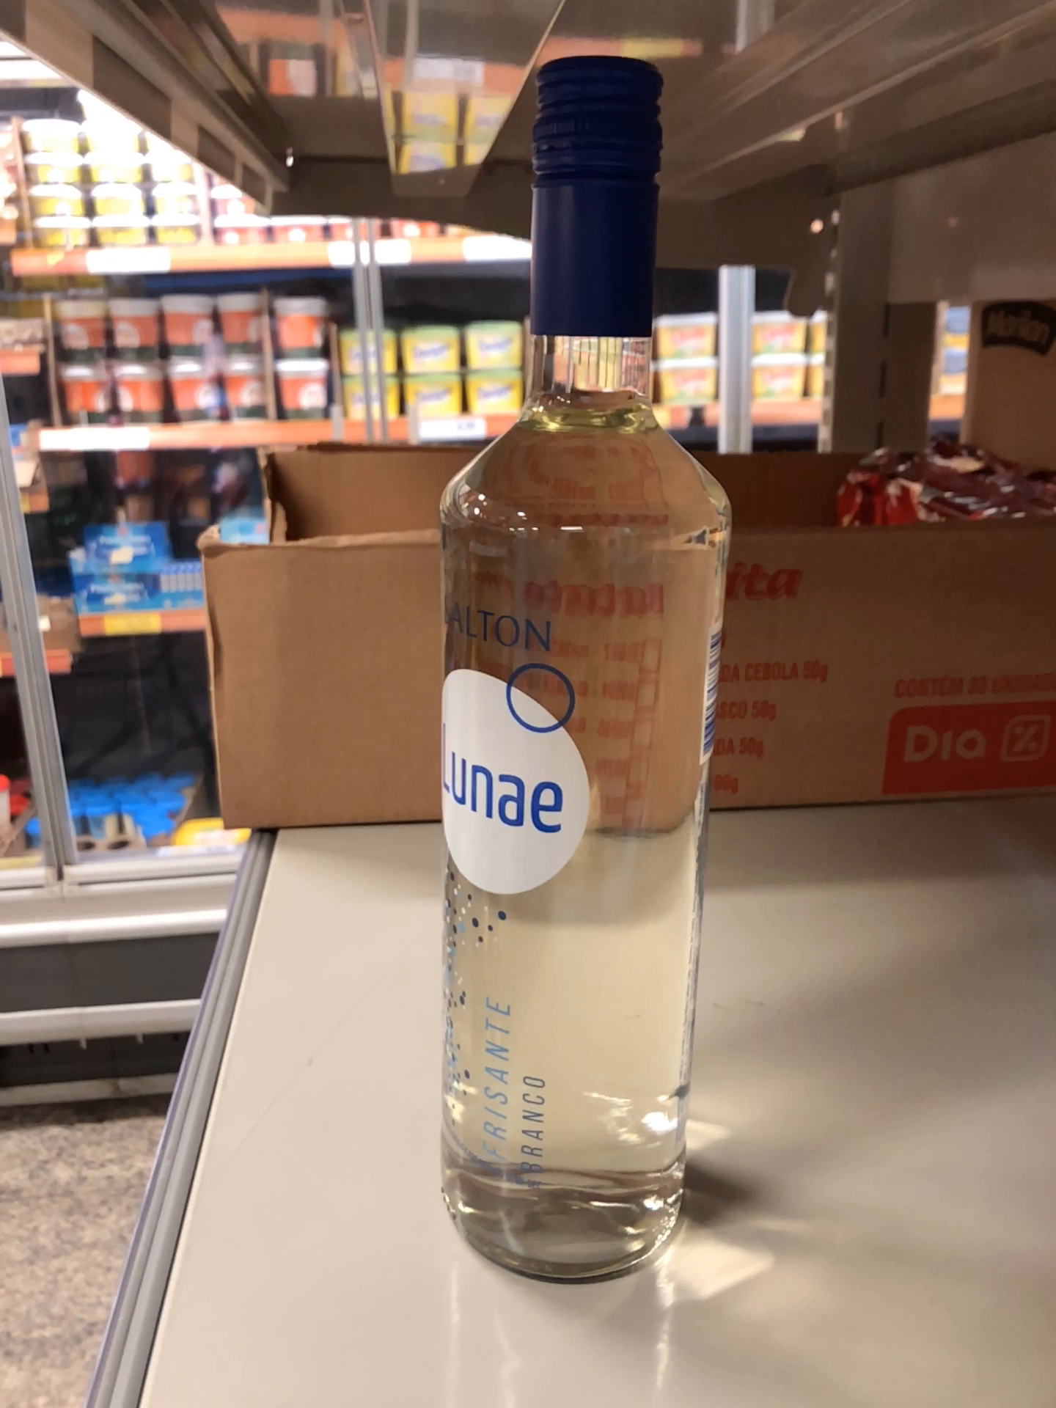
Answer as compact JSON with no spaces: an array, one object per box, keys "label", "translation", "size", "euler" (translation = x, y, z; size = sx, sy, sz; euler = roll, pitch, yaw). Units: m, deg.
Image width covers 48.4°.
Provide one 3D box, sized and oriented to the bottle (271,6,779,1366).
[{"label":"bottle","translation":[0.006,0.005,0.308],"size":[0.080,0.308,0.080],"euler":[-3,18,1]}]
